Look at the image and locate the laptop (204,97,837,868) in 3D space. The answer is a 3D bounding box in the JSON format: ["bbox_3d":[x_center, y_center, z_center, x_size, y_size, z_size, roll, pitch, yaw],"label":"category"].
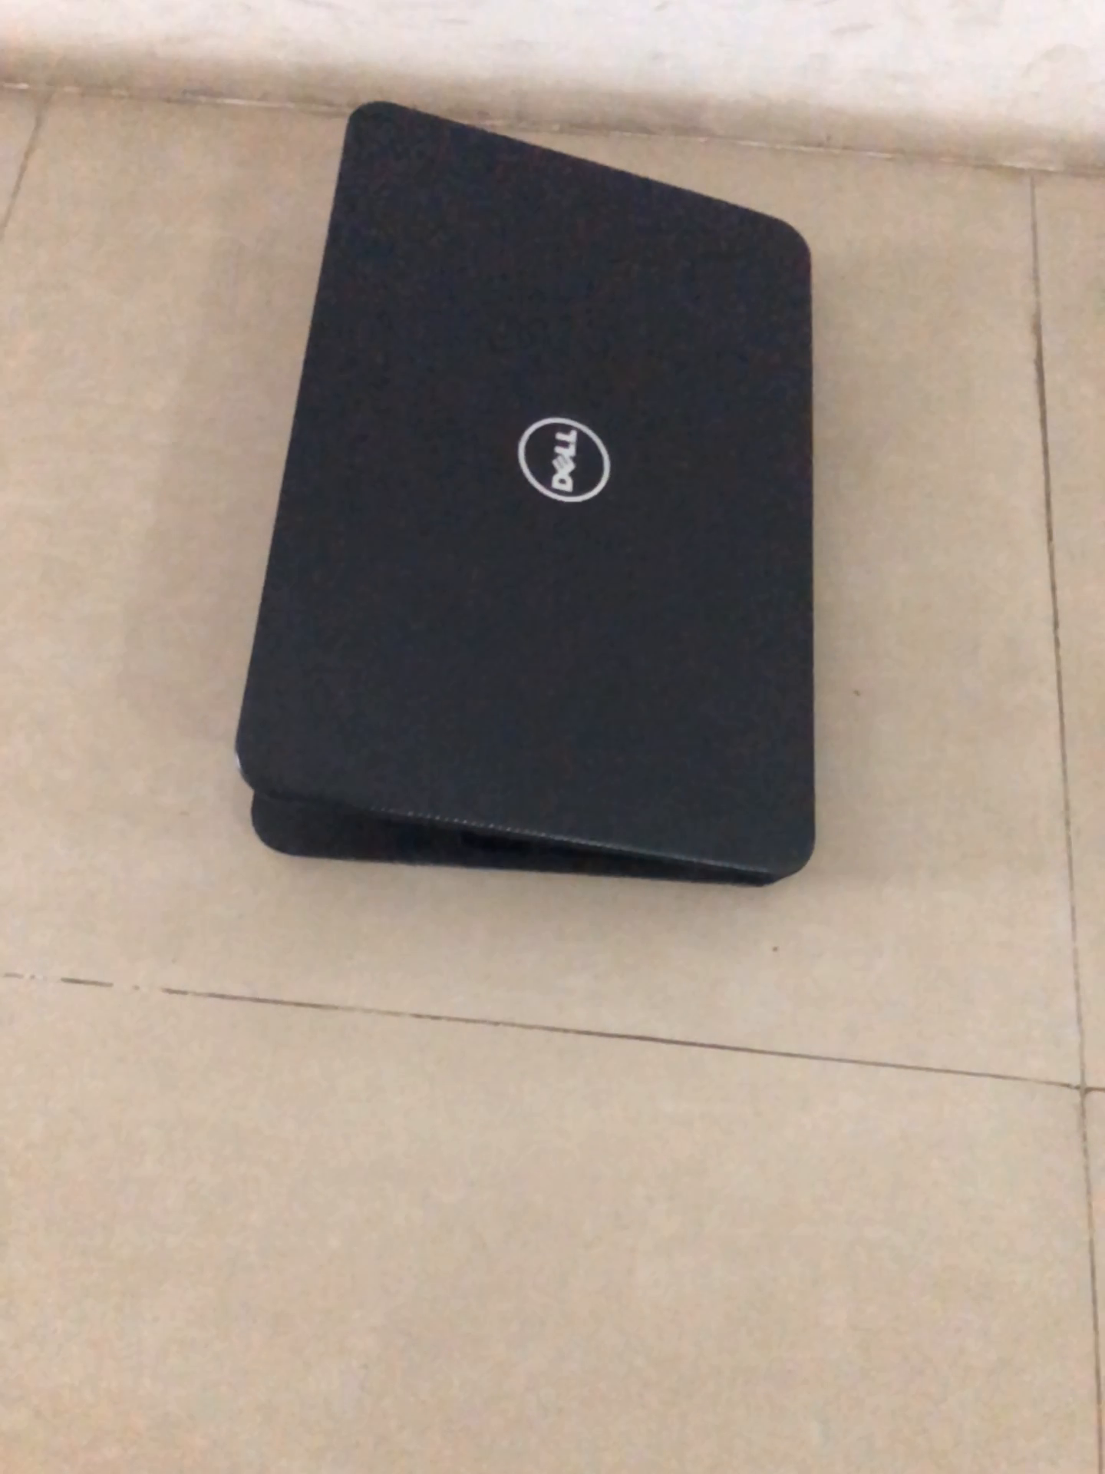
[{"bbox_3d":[-0.002,-0.130,0.574,0.247,0.078,0.358,3,70,3],"label":"laptop"}]
